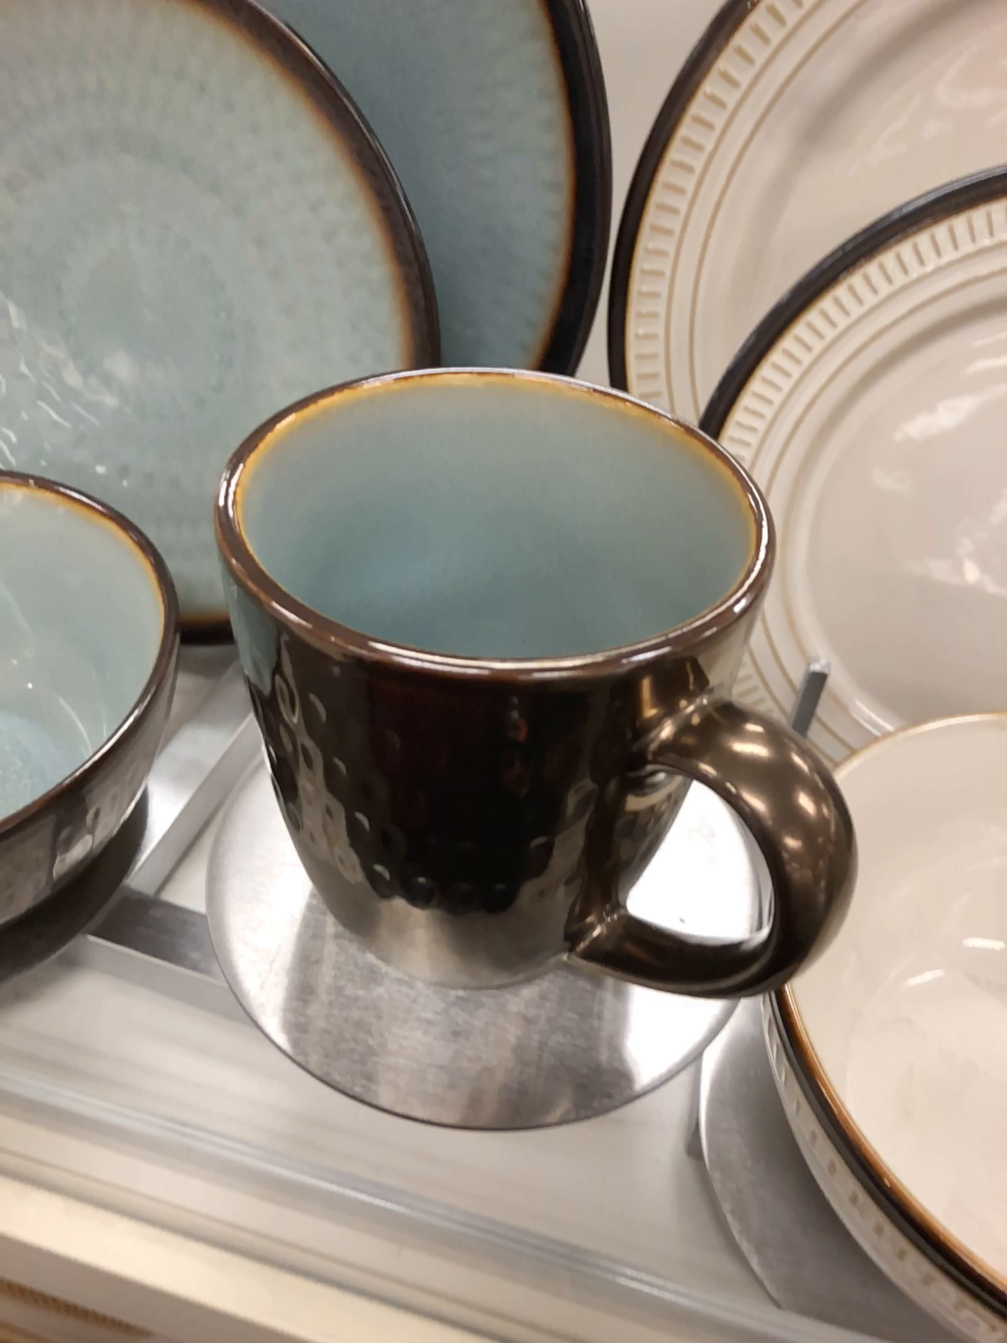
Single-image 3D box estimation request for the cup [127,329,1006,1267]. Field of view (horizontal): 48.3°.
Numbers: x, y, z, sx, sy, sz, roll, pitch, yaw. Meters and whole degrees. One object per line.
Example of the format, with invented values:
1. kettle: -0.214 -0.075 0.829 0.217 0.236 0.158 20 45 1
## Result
1. cup: 0.007 0.016 0.209 0.117 0.100 0.083 35 51 28
